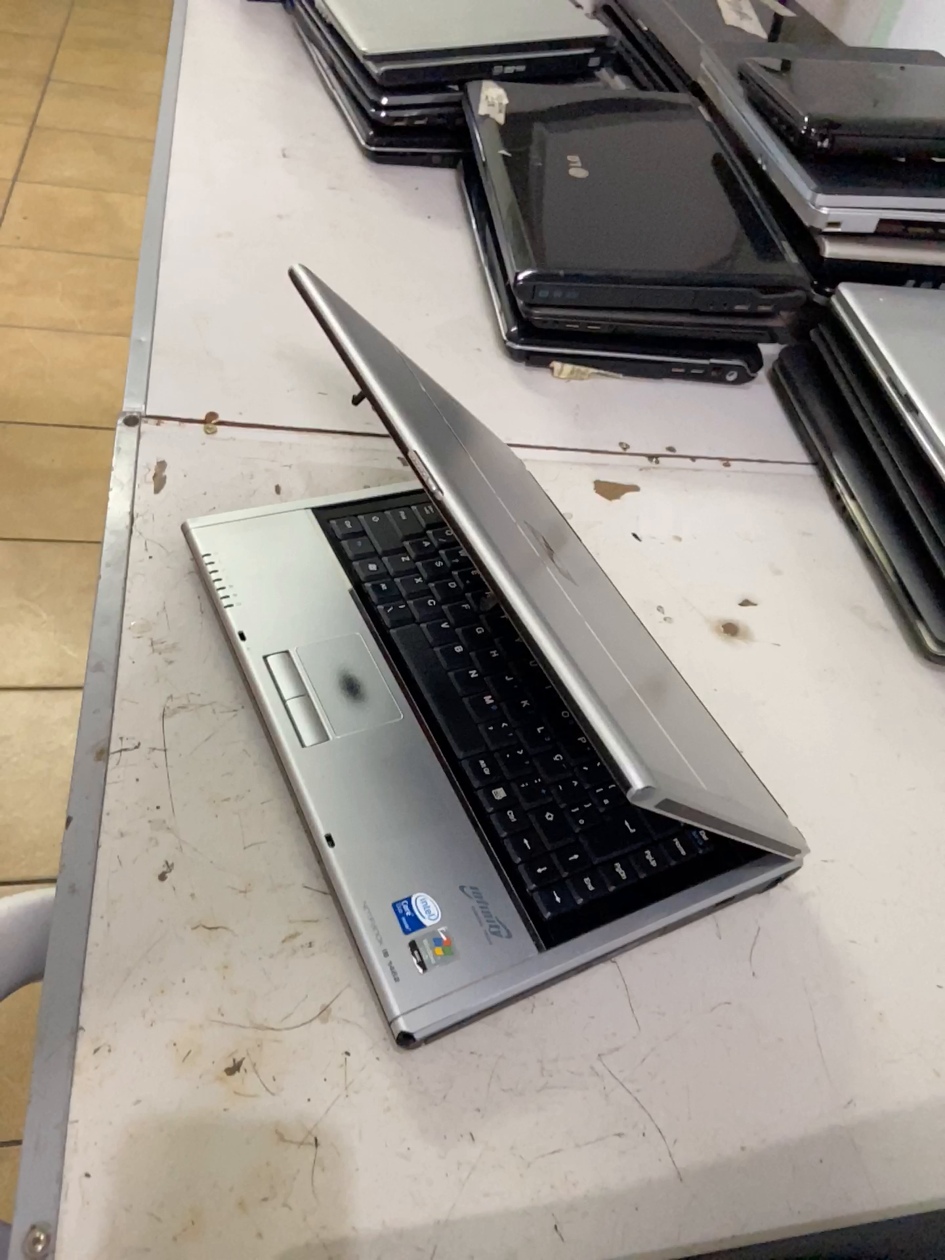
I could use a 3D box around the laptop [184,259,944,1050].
[{"bbox_3d":[0.015,-0.020,0.492,0.228,0.164,0.331,-14,53,-25],"label":"laptop"}]
